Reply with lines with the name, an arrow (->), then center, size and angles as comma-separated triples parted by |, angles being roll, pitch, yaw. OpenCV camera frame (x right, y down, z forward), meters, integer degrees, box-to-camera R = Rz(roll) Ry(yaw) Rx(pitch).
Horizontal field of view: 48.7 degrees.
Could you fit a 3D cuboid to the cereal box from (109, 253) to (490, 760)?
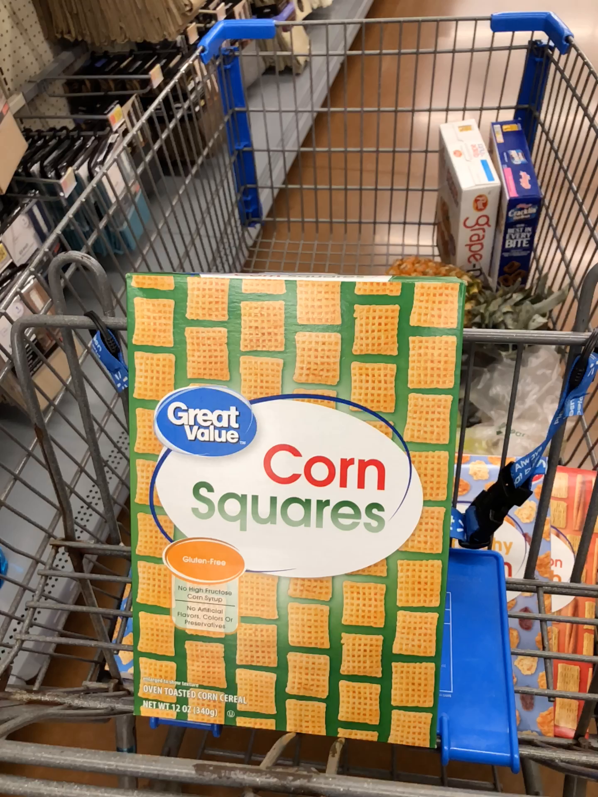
cereal box -> -0.001, 0.057, 0.400 | 0.200, 0.280, 0.070 | 2, 9, 8
